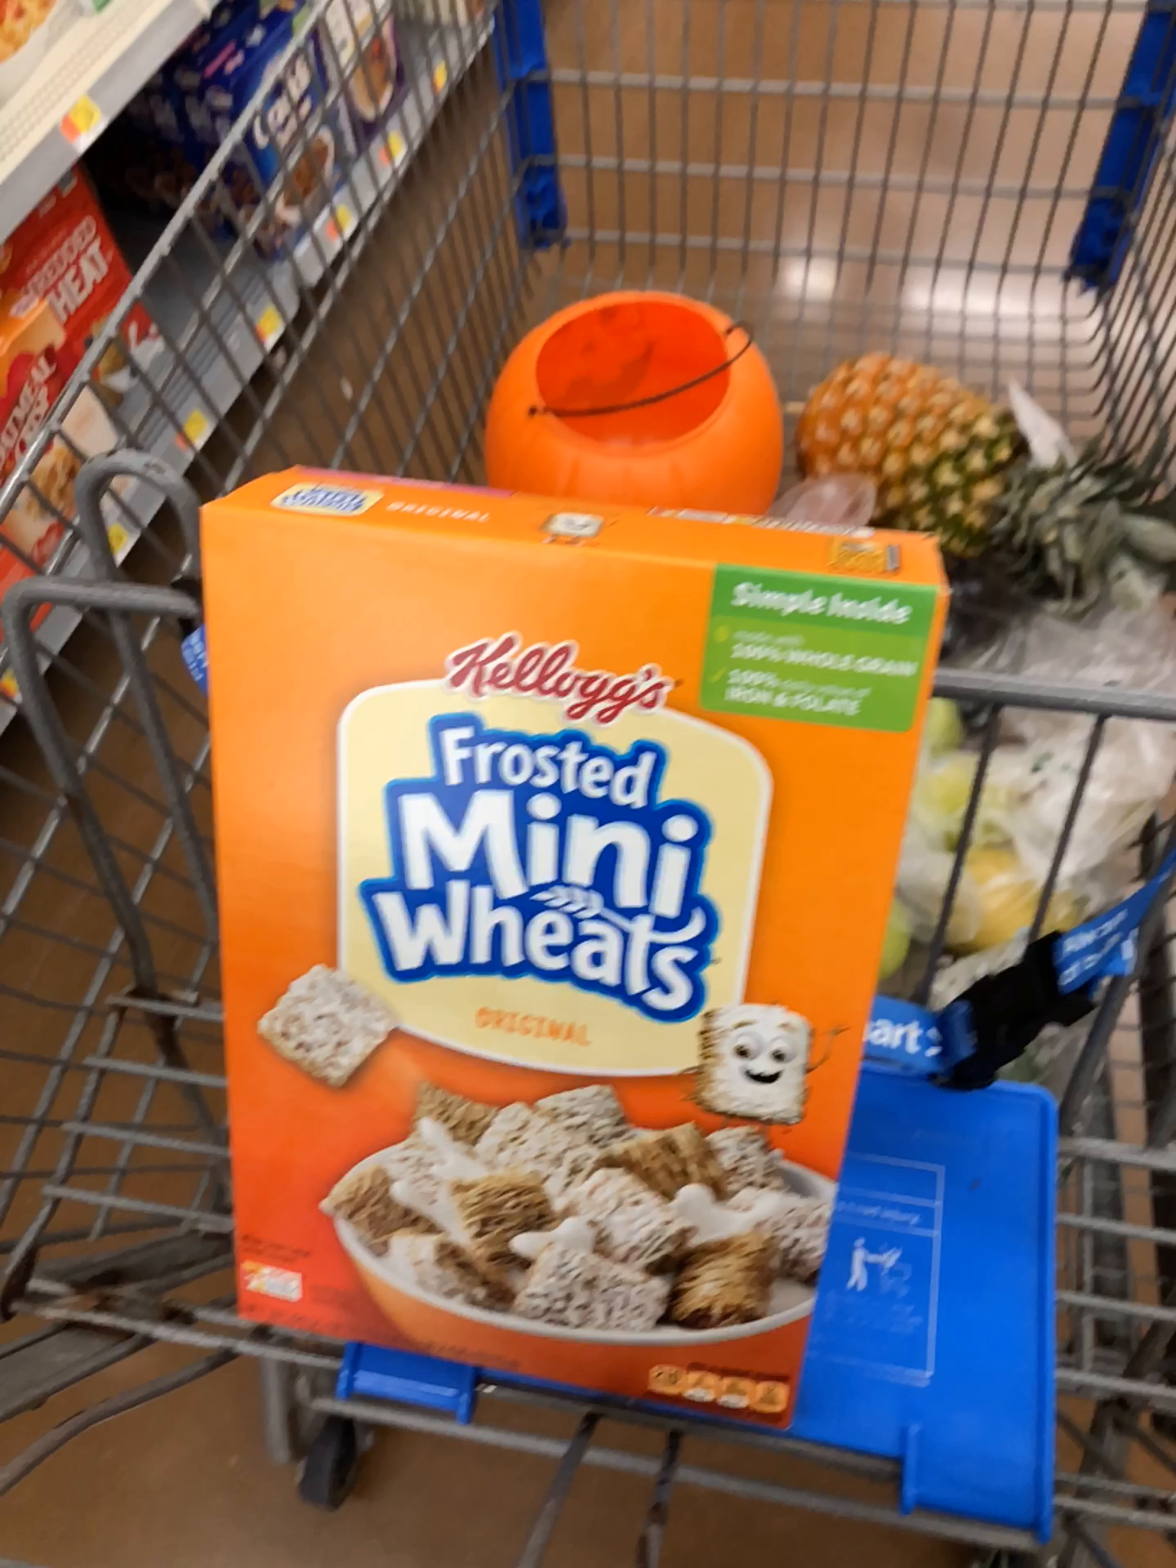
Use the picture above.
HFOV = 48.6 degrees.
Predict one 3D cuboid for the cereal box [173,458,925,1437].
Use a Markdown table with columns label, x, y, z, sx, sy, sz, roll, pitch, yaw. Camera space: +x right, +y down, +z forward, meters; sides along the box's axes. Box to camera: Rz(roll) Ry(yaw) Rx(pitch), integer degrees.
| label | x | y | z | sx | sy | sz | roll | pitch | yaw |
| --- | --- | --- | --- | --- | --- | --- | --- | --- | --- |
| cereal box | -0.016 | 0.057 | 0.411 | 0.190 | 0.290 | 0.070 | 6 | 22 | 6 |
